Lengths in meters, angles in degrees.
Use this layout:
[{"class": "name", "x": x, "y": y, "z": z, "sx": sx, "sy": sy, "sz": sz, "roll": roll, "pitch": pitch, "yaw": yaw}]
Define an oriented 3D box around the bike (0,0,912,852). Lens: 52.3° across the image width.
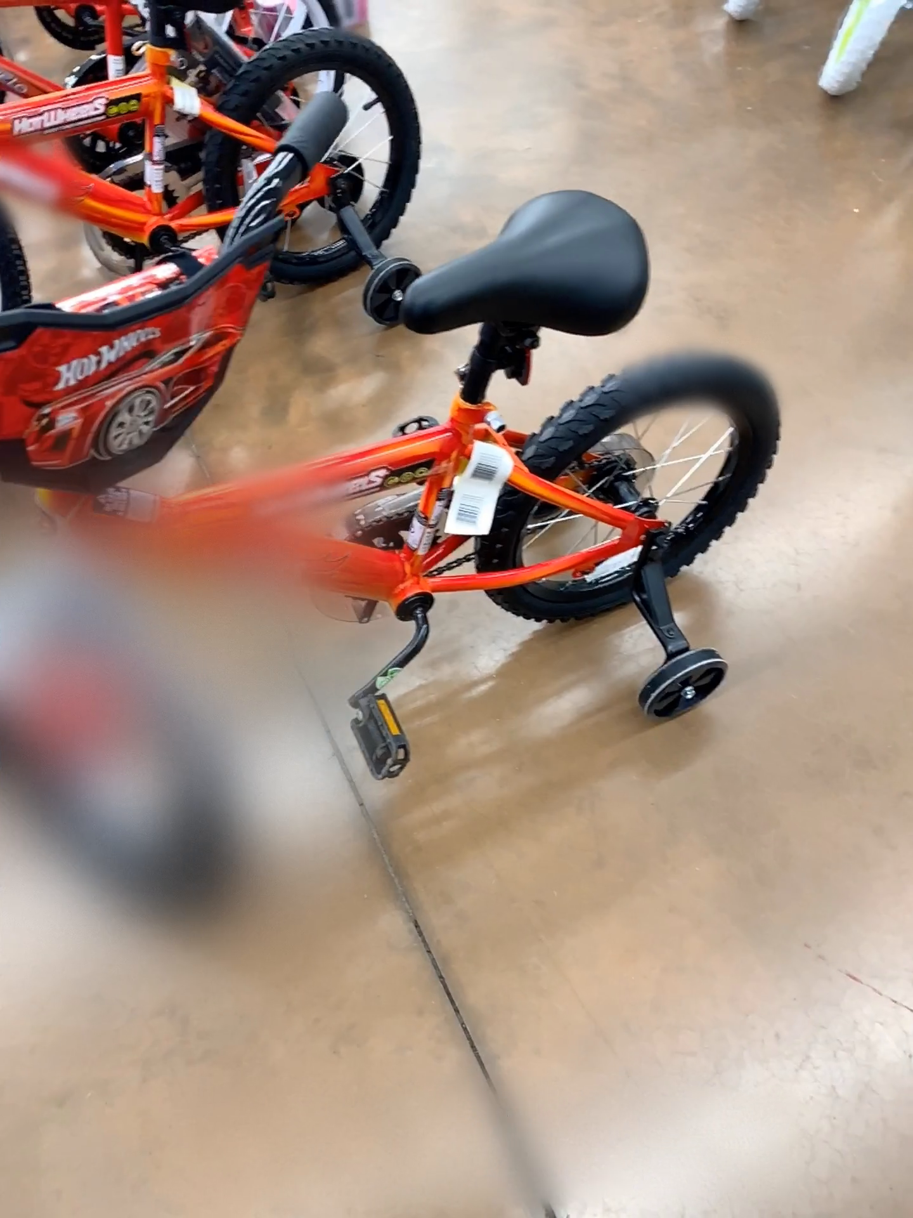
[{"class": "bike", "x": -0.141, "y": -0.225, "z": 1.009, "sx": 0.994, "sy": 0.821, "sz": 0.504, "roll": -20, "pitch": 56, "yaw": -2}]
